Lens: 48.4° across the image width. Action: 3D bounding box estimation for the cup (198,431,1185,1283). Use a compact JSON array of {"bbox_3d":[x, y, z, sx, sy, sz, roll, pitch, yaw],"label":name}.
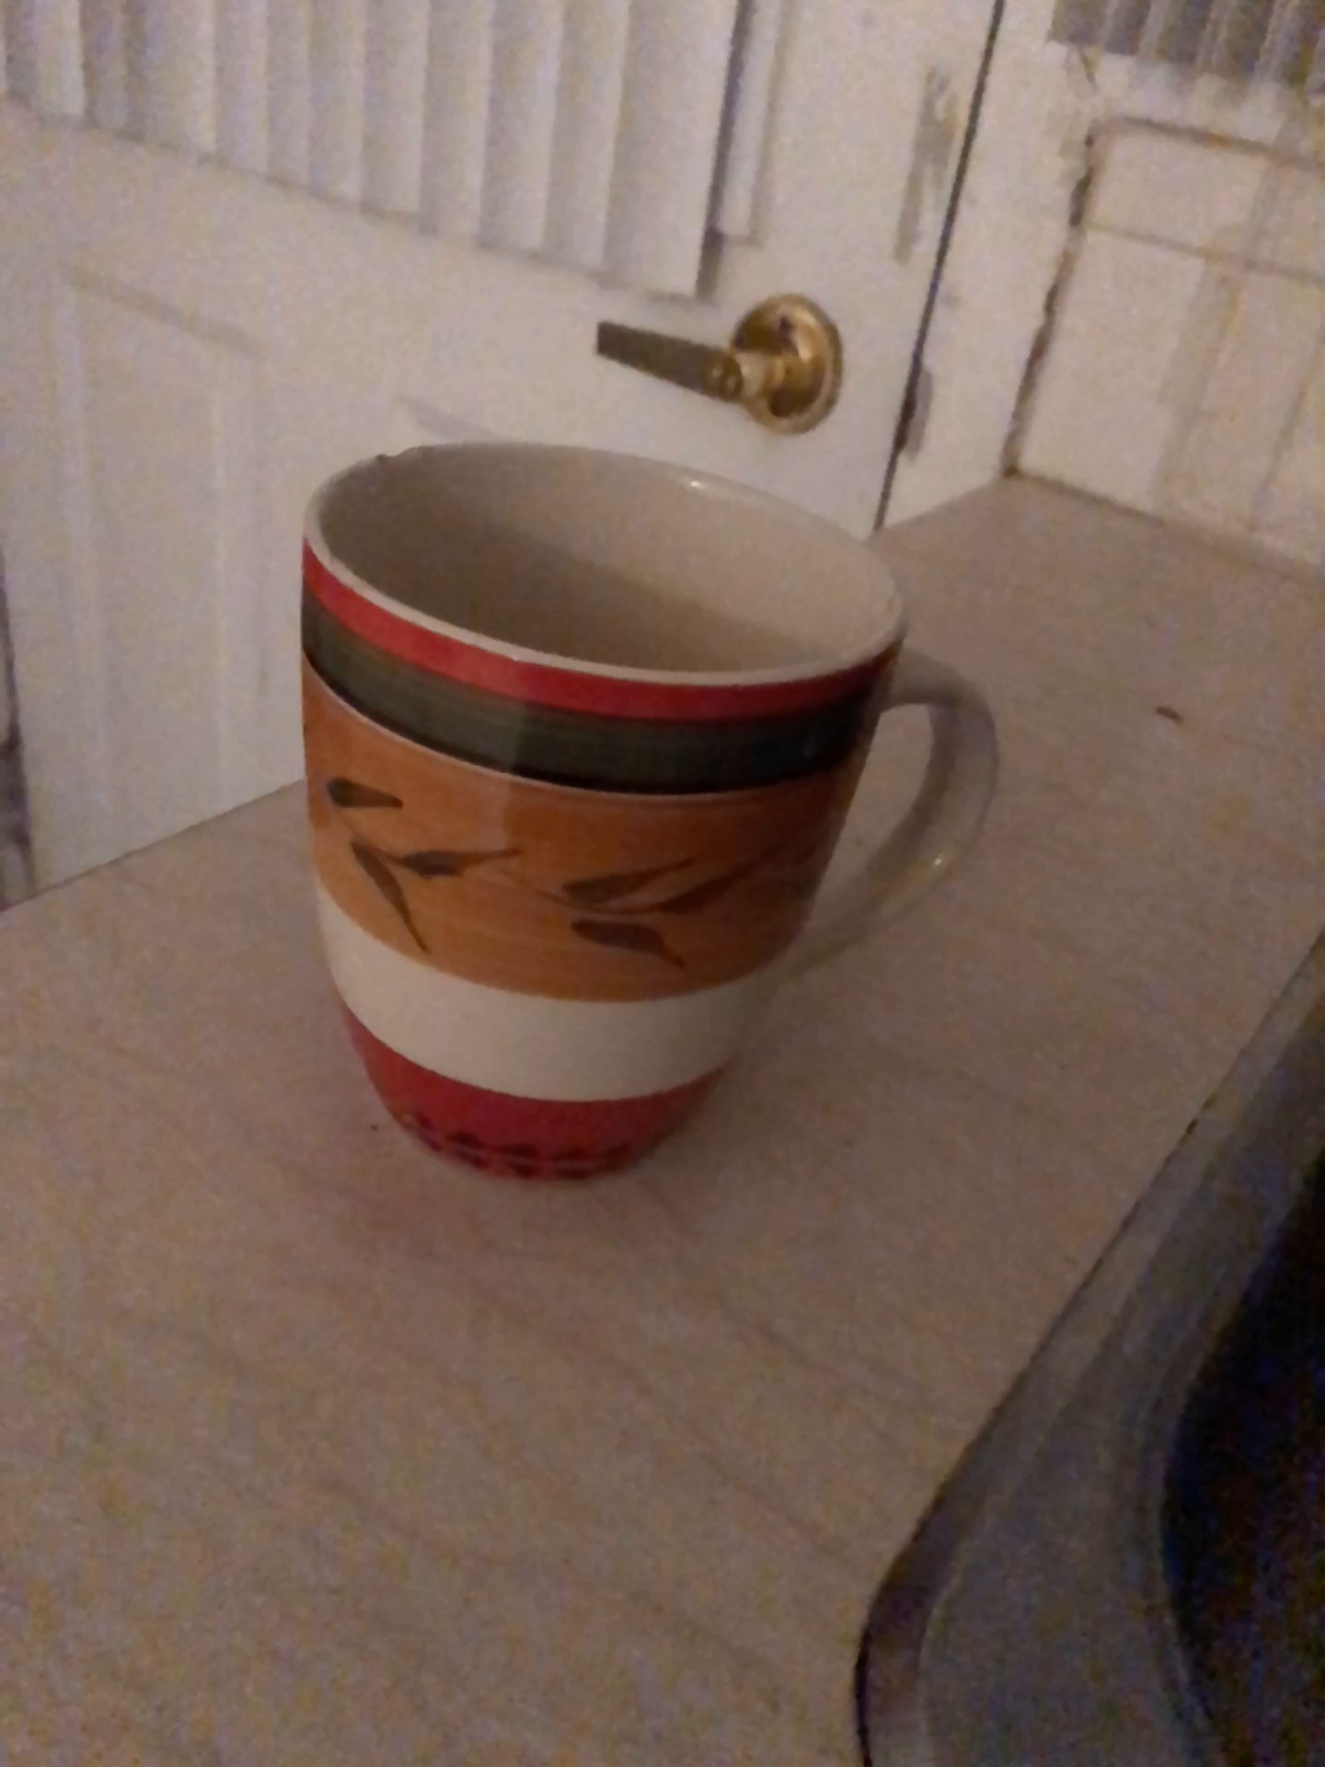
[{"bbox_3d":[-0.004,-0.016,0.284,0.143,0.109,0.101,-9,37,-27],"label":"cup"}]
